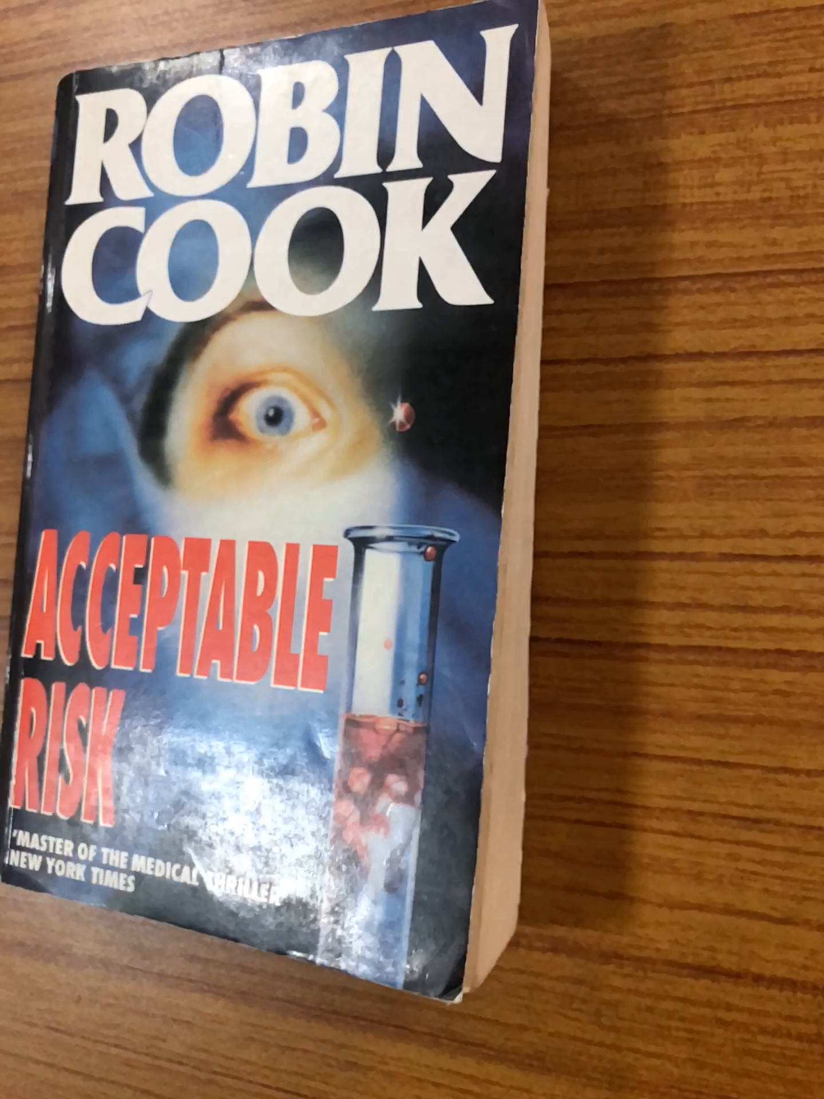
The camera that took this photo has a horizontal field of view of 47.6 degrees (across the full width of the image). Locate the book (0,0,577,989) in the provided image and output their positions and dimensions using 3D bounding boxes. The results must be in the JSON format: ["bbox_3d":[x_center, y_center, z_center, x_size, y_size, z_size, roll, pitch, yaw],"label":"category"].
[{"bbox_3d":[-0.030,-0.016,0.192,0.110,0.040,0.170,4,88,21],"label":"book"}]
